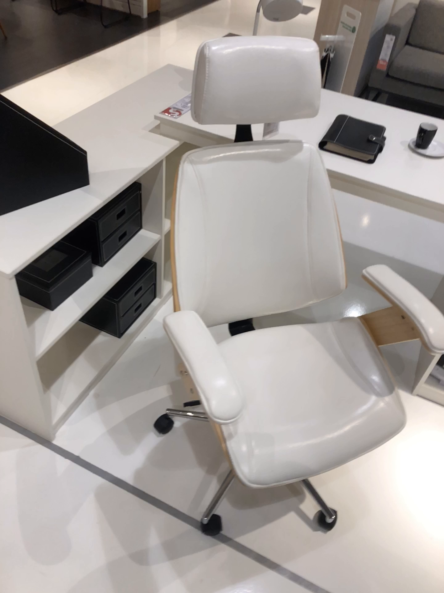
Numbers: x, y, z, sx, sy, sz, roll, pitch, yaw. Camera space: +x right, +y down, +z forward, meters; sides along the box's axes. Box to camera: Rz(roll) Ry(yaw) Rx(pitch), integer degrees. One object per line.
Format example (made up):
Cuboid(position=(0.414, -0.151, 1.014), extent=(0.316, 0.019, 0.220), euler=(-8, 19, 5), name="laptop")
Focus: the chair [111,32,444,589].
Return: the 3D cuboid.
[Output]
Cuboid(position=(0.165, 0.056, 1.218), extent=(0.671, 1.102, 0.704), euler=(-11, 46, -19), name="chair")
